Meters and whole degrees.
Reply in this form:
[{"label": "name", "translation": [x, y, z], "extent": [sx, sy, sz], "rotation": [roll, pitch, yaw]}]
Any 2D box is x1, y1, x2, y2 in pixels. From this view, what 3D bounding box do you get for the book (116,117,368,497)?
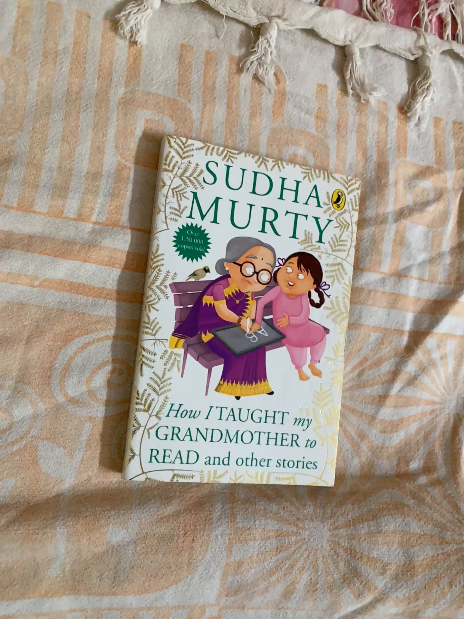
[{"label": "book", "translation": [0.011, 0.001, 0.278], "extent": [0.130, 0.020, 0.200], "rotation": [7, 83, -15]}]
